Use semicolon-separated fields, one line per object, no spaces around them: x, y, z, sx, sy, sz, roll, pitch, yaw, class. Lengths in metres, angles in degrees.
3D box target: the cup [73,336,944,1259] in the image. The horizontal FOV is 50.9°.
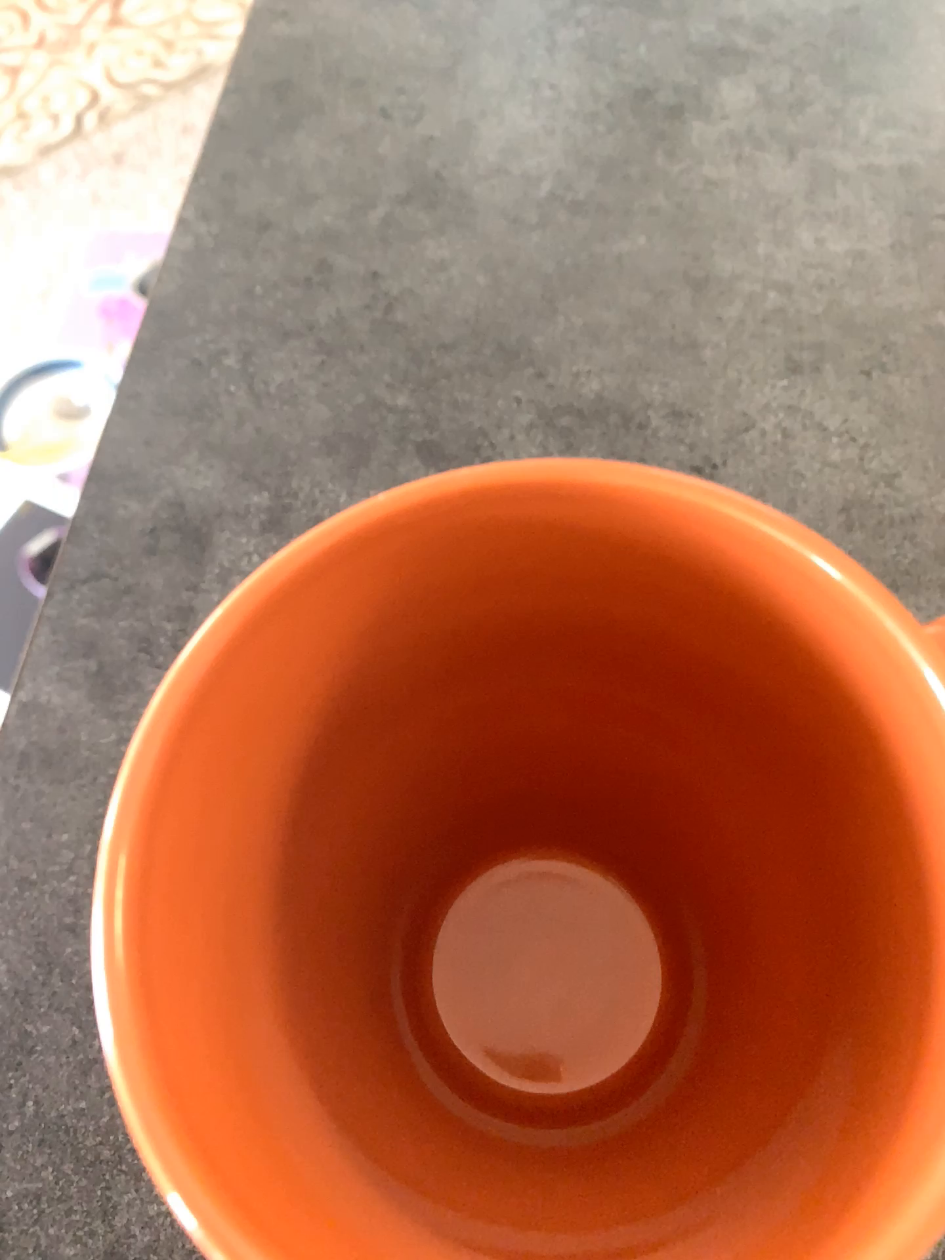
0.030;0.037;0.123;0.120;0.090;0.080;-13;64;-1;cup
